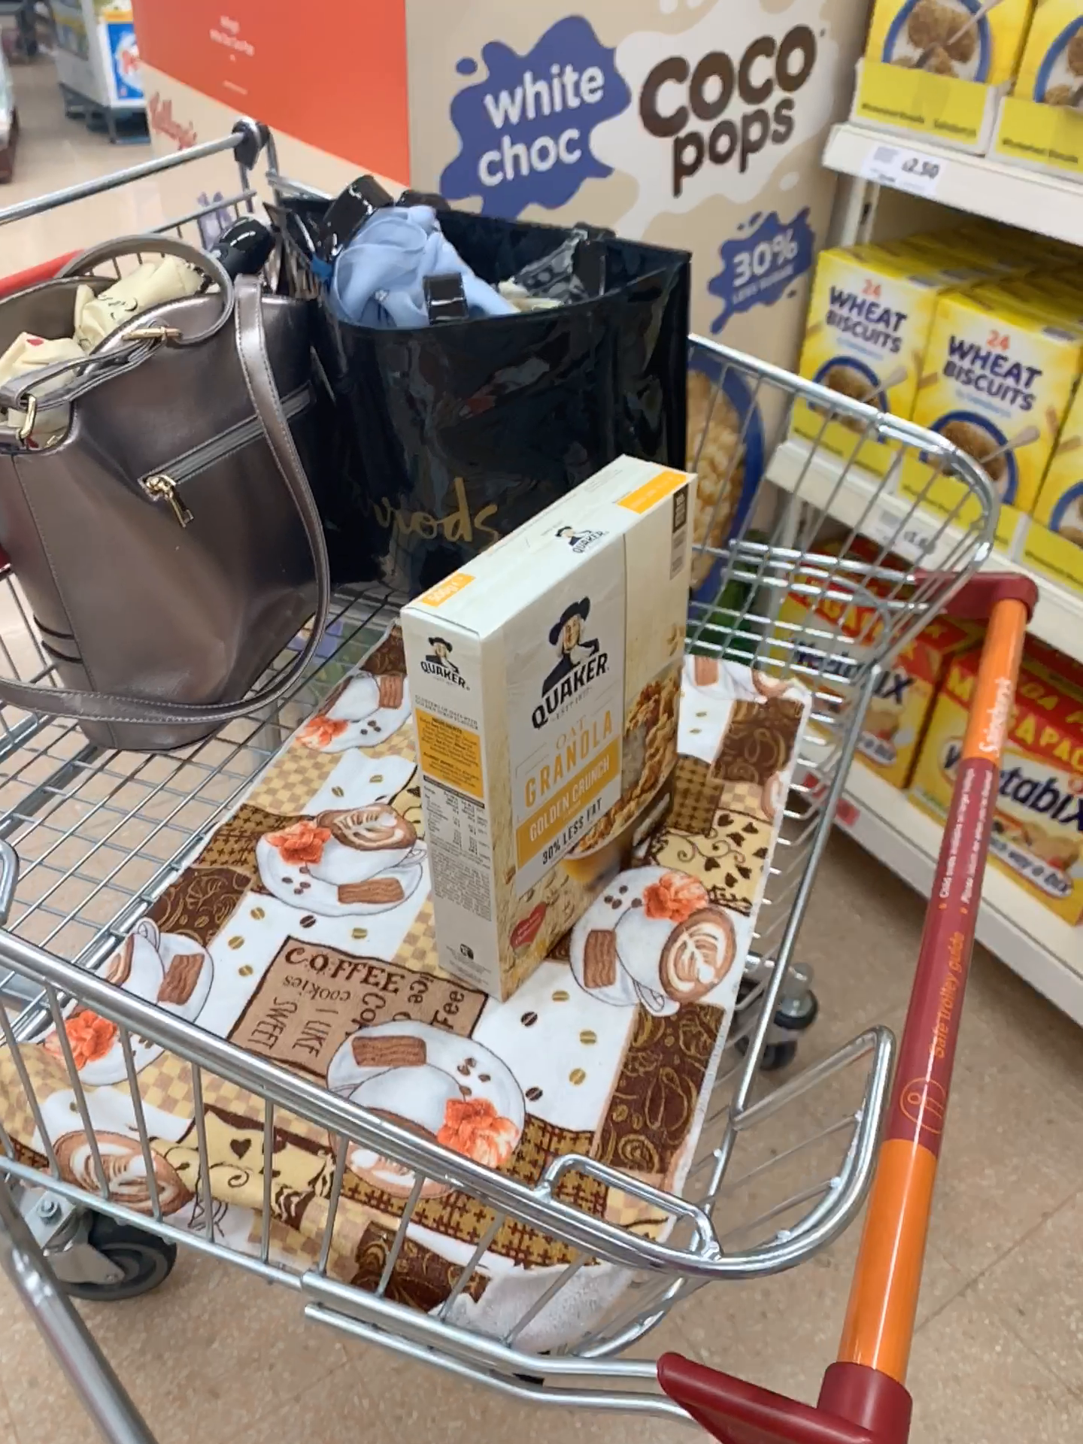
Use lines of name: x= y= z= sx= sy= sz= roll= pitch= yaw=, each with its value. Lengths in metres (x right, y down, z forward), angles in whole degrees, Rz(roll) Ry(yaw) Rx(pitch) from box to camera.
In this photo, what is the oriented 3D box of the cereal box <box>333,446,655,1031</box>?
cereal box: x=-0.014 y=0.009 z=0.620 sx=0.050 sy=0.258 sz=0.201 roll=21 pitch=42 yaw=26
